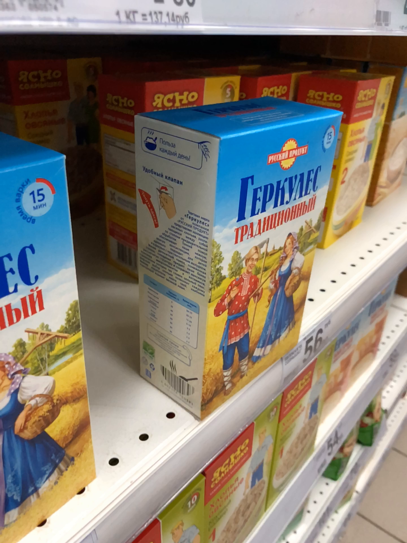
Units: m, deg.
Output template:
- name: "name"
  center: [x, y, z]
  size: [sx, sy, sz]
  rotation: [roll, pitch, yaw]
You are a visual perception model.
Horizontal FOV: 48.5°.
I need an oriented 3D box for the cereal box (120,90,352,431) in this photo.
- name: "cereal box"
  center: [0.020, -0.014, 0.310]
  size: [0.070, 0.189, 0.130]
  rotation: [26, 36, 35]
